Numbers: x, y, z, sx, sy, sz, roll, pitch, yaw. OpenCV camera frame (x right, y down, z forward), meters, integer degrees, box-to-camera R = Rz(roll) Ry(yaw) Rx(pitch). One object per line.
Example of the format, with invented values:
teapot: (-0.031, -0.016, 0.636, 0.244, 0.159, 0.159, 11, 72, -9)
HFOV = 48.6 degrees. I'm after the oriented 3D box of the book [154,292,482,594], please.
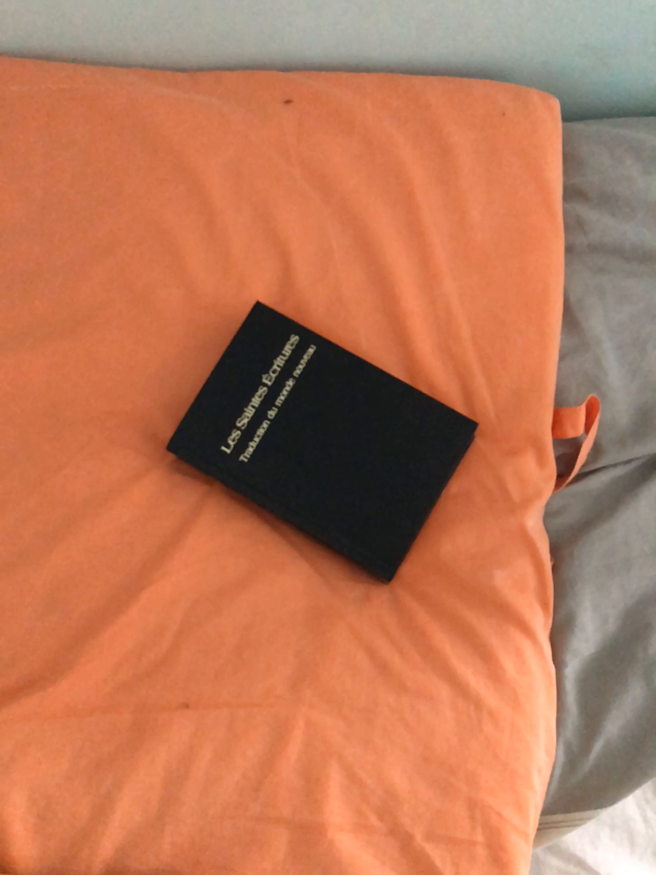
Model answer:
book: (-0.007, 0.002, 0.489, 0.174, 0.030, 0.127, 31, 83, 6)
